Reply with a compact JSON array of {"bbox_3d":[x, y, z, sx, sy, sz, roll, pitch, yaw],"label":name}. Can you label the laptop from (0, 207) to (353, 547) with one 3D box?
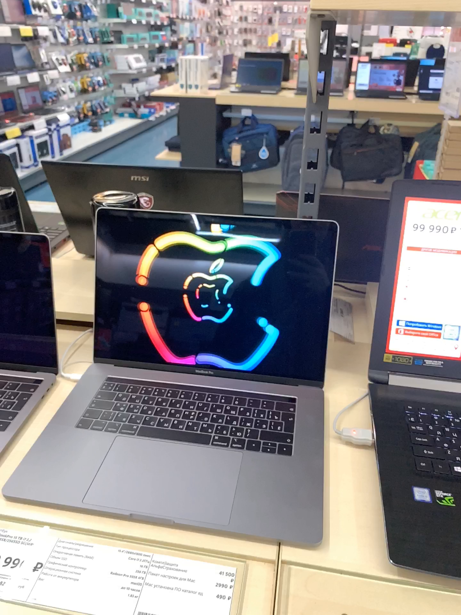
[{"bbox_3d":[-0.051,0.043,0.575,0.345,0.210,0.326,5,31,8],"label":"laptop"}]
